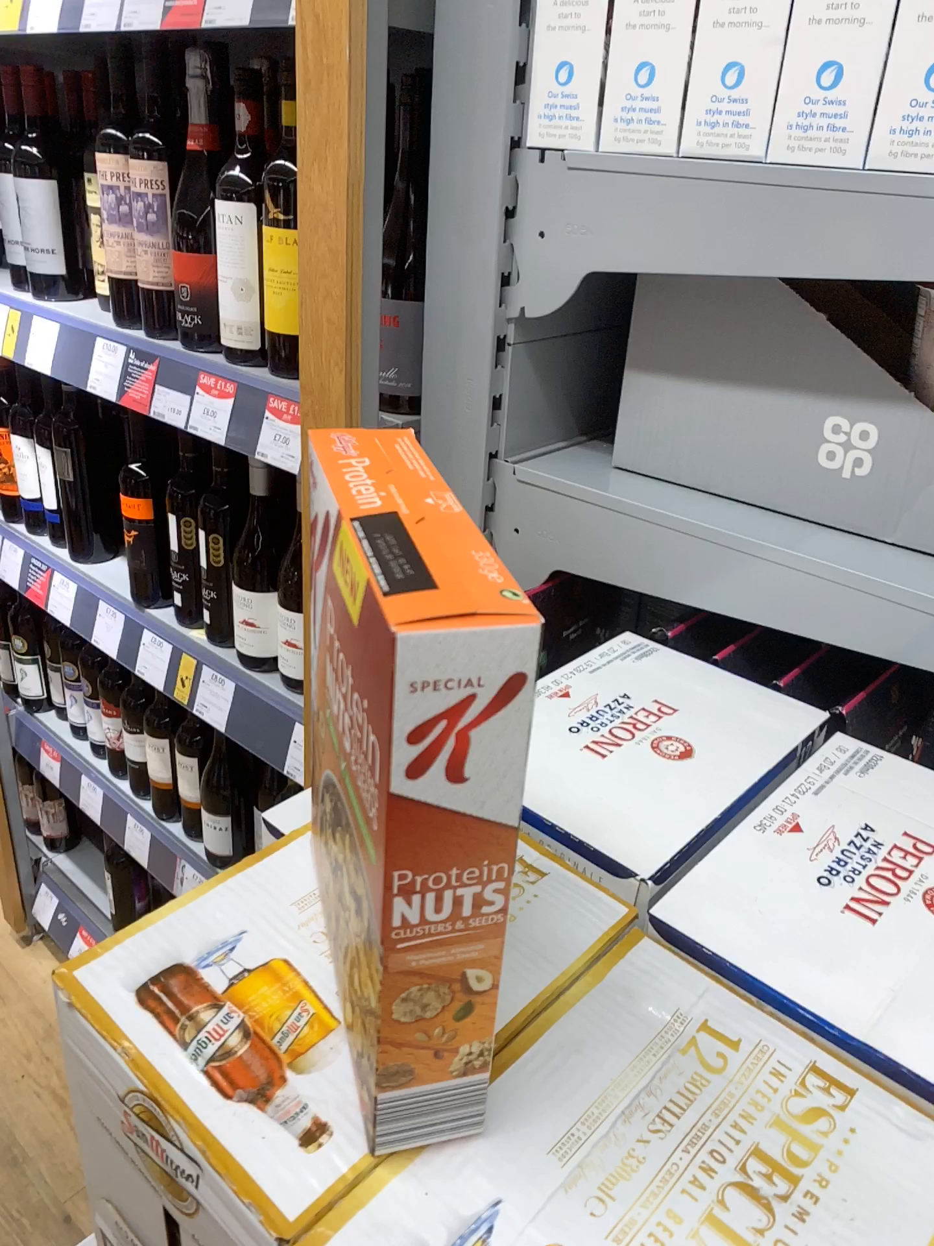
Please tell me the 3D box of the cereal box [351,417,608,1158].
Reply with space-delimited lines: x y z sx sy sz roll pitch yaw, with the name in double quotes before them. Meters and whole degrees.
"cereal box" -0.012 0.056 0.406 0.050 0.238 0.192 -3 27 -13
